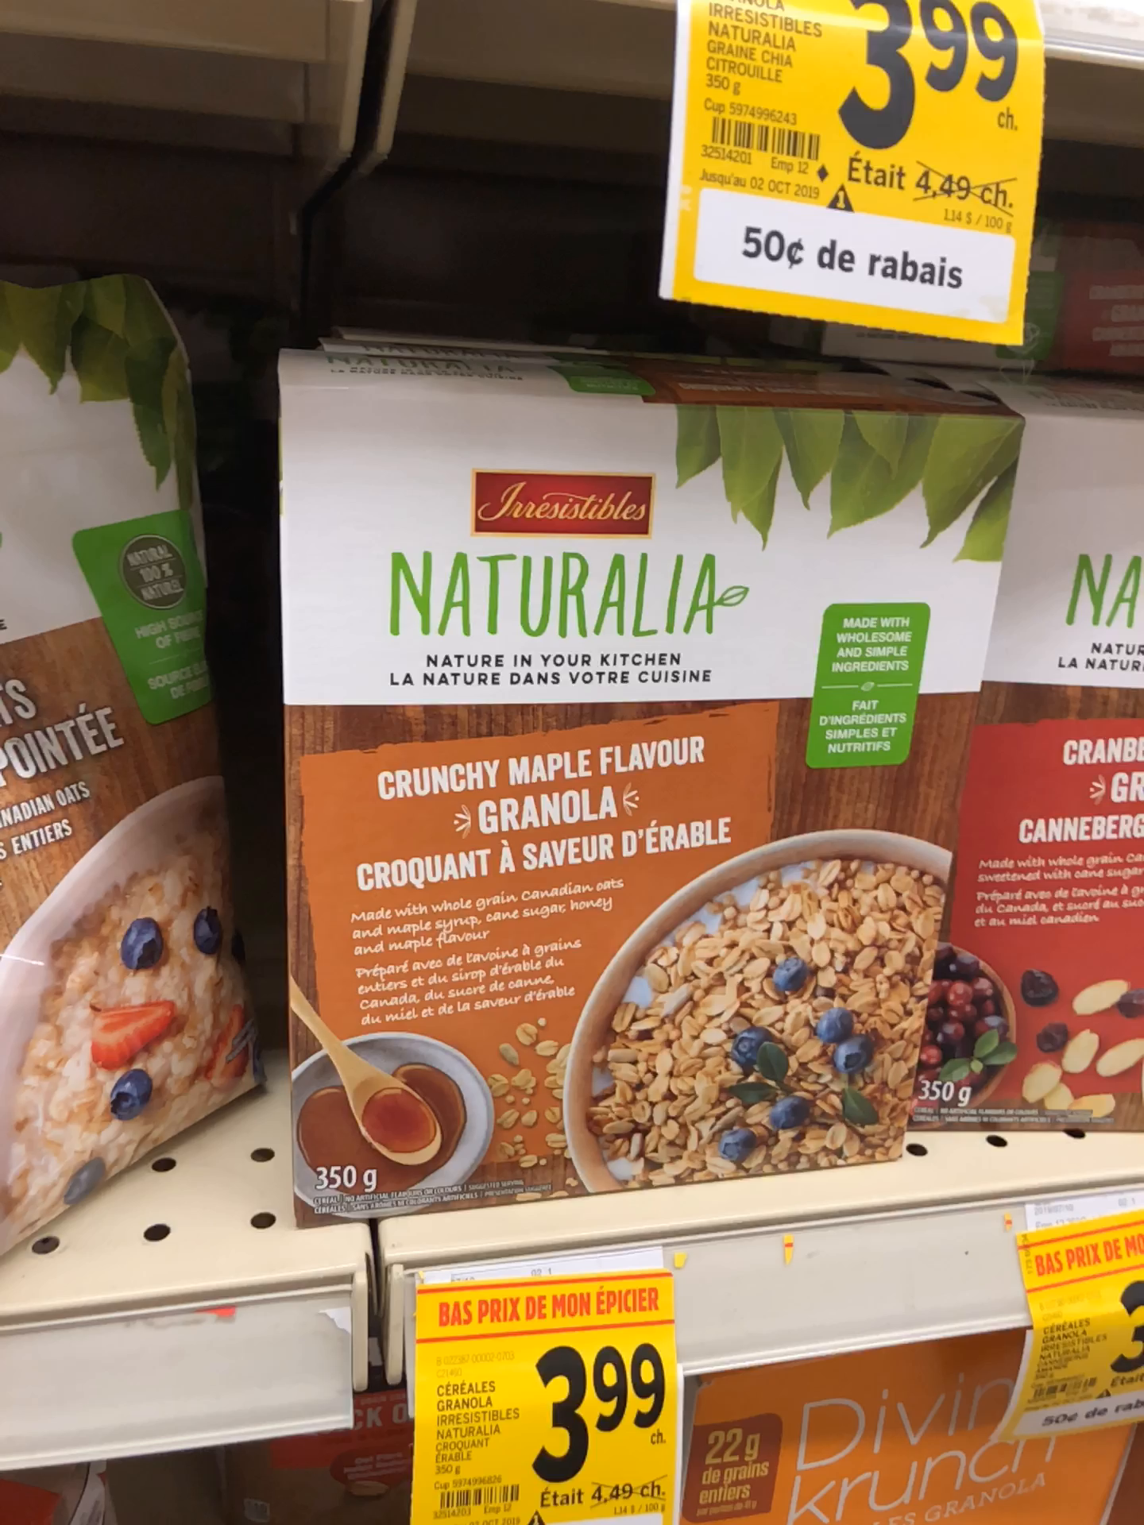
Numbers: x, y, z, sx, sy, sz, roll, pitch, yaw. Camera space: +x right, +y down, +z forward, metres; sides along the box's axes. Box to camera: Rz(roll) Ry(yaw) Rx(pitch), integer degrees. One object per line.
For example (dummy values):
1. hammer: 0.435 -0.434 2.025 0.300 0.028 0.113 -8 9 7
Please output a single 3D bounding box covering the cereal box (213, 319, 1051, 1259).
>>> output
1. cereal box: 0.006 0.009 0.307 0.170 0.209 0.050 -1 22 -14
